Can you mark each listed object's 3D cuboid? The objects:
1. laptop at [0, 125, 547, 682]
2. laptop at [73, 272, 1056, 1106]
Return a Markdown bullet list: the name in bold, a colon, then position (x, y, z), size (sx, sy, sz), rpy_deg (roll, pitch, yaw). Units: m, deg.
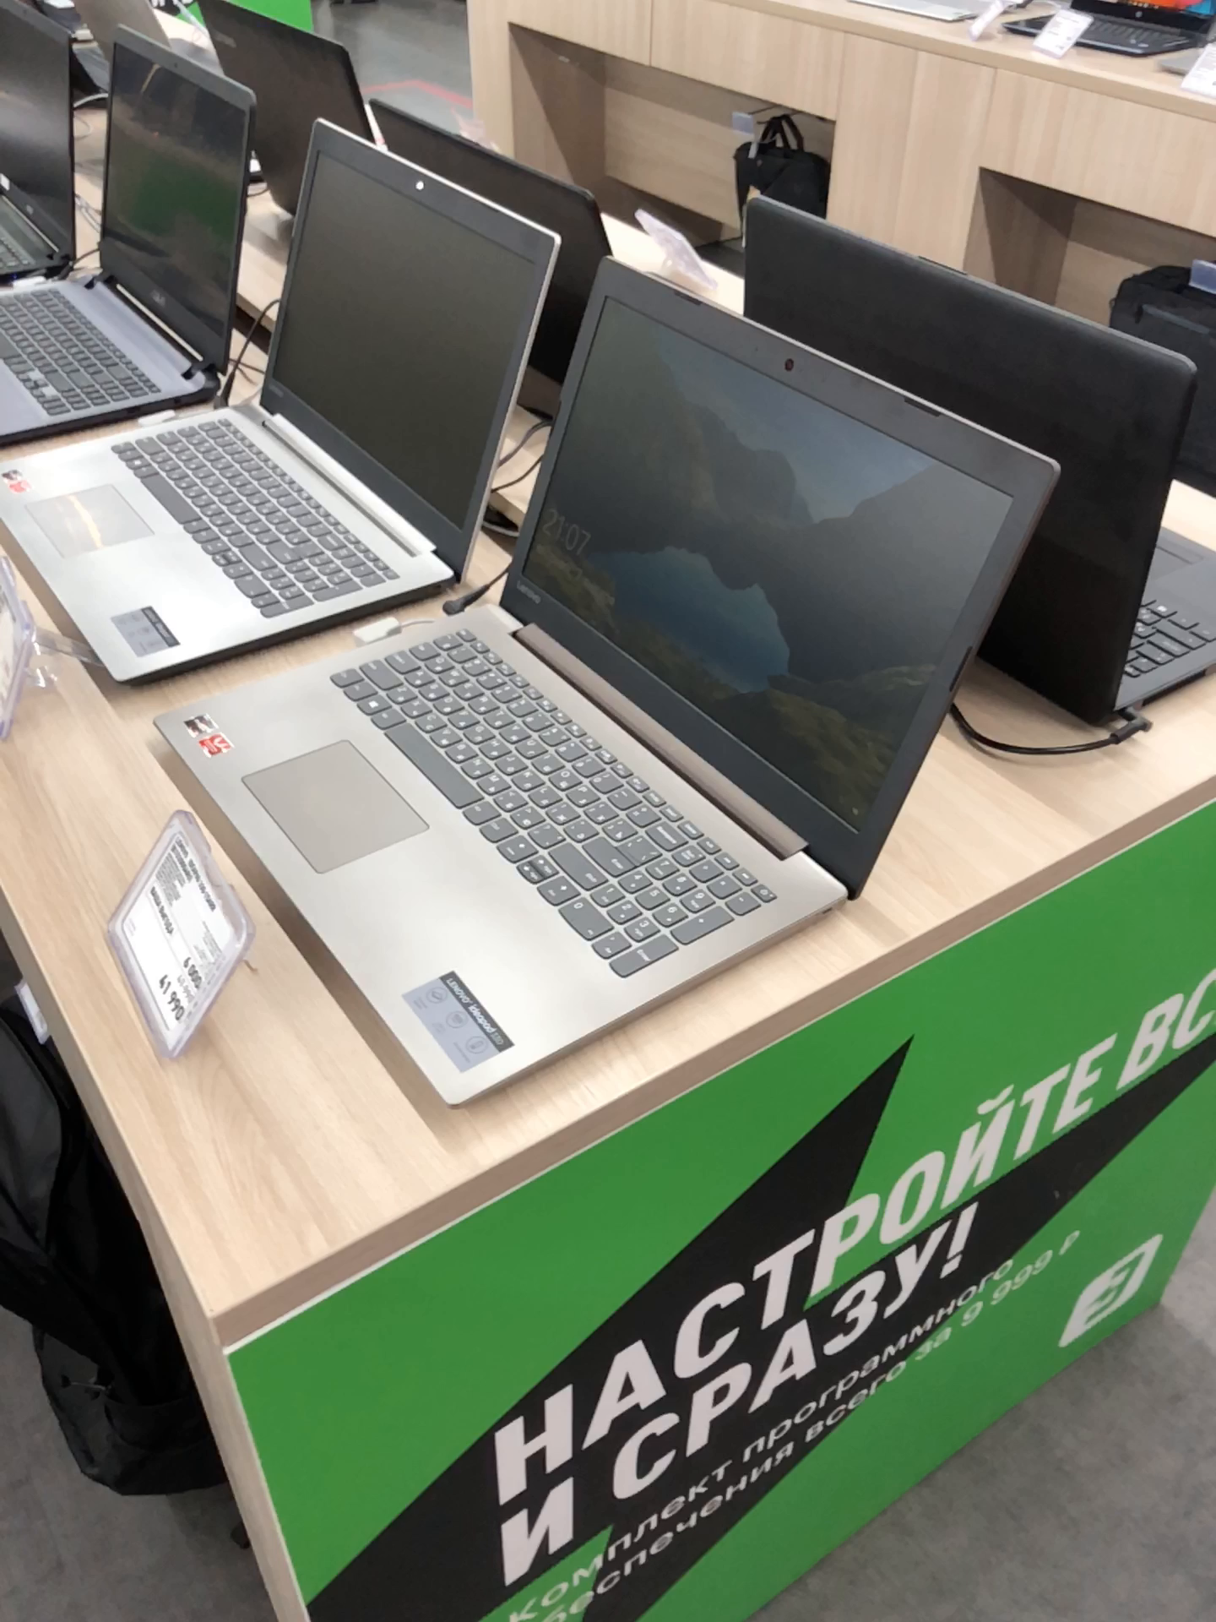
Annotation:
- **laptop**: position (-0.269, -0.317, 0.960), size (0.323, 0.207, 0.344), rpy_deg (-24, 46, -27)
- **laptop**: position (-0.037, -0.101, 0.703), size (0.329, 0.209, 0.352), rpy_deg (-23, 44, -26)
